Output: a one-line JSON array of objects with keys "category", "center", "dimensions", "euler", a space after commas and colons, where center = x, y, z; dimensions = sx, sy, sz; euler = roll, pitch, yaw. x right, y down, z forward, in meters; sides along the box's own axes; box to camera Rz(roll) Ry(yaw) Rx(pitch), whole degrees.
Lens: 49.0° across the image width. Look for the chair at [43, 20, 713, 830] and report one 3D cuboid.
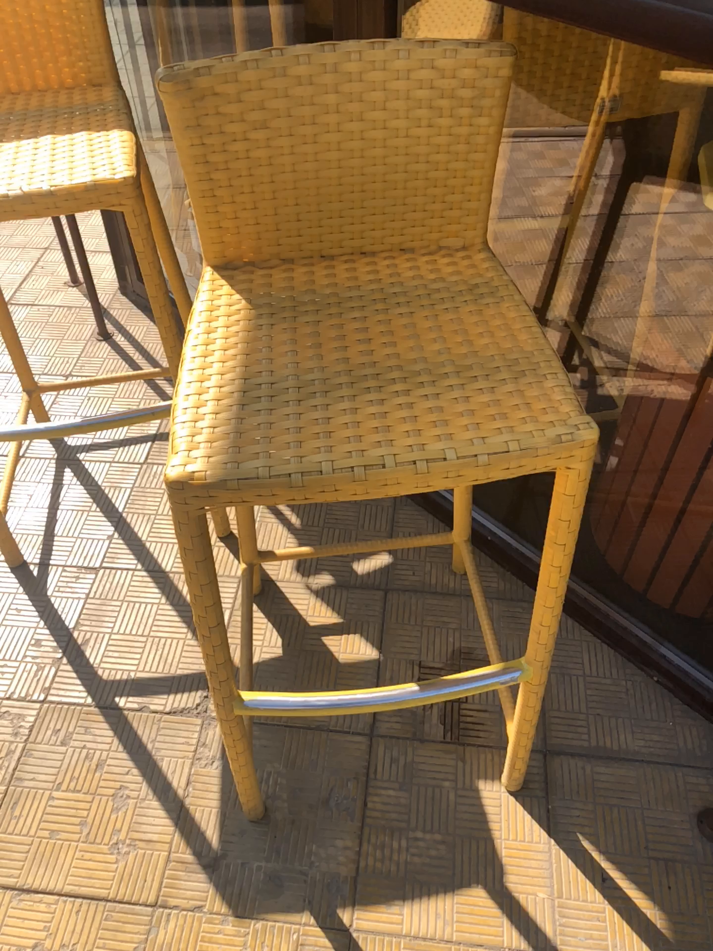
[{"category": "chair", "center": [0.011, 0.005, 1.024], "dimensions": [0.480, 0.916, 0.522], "euler": [-4, 47, -4]}]
